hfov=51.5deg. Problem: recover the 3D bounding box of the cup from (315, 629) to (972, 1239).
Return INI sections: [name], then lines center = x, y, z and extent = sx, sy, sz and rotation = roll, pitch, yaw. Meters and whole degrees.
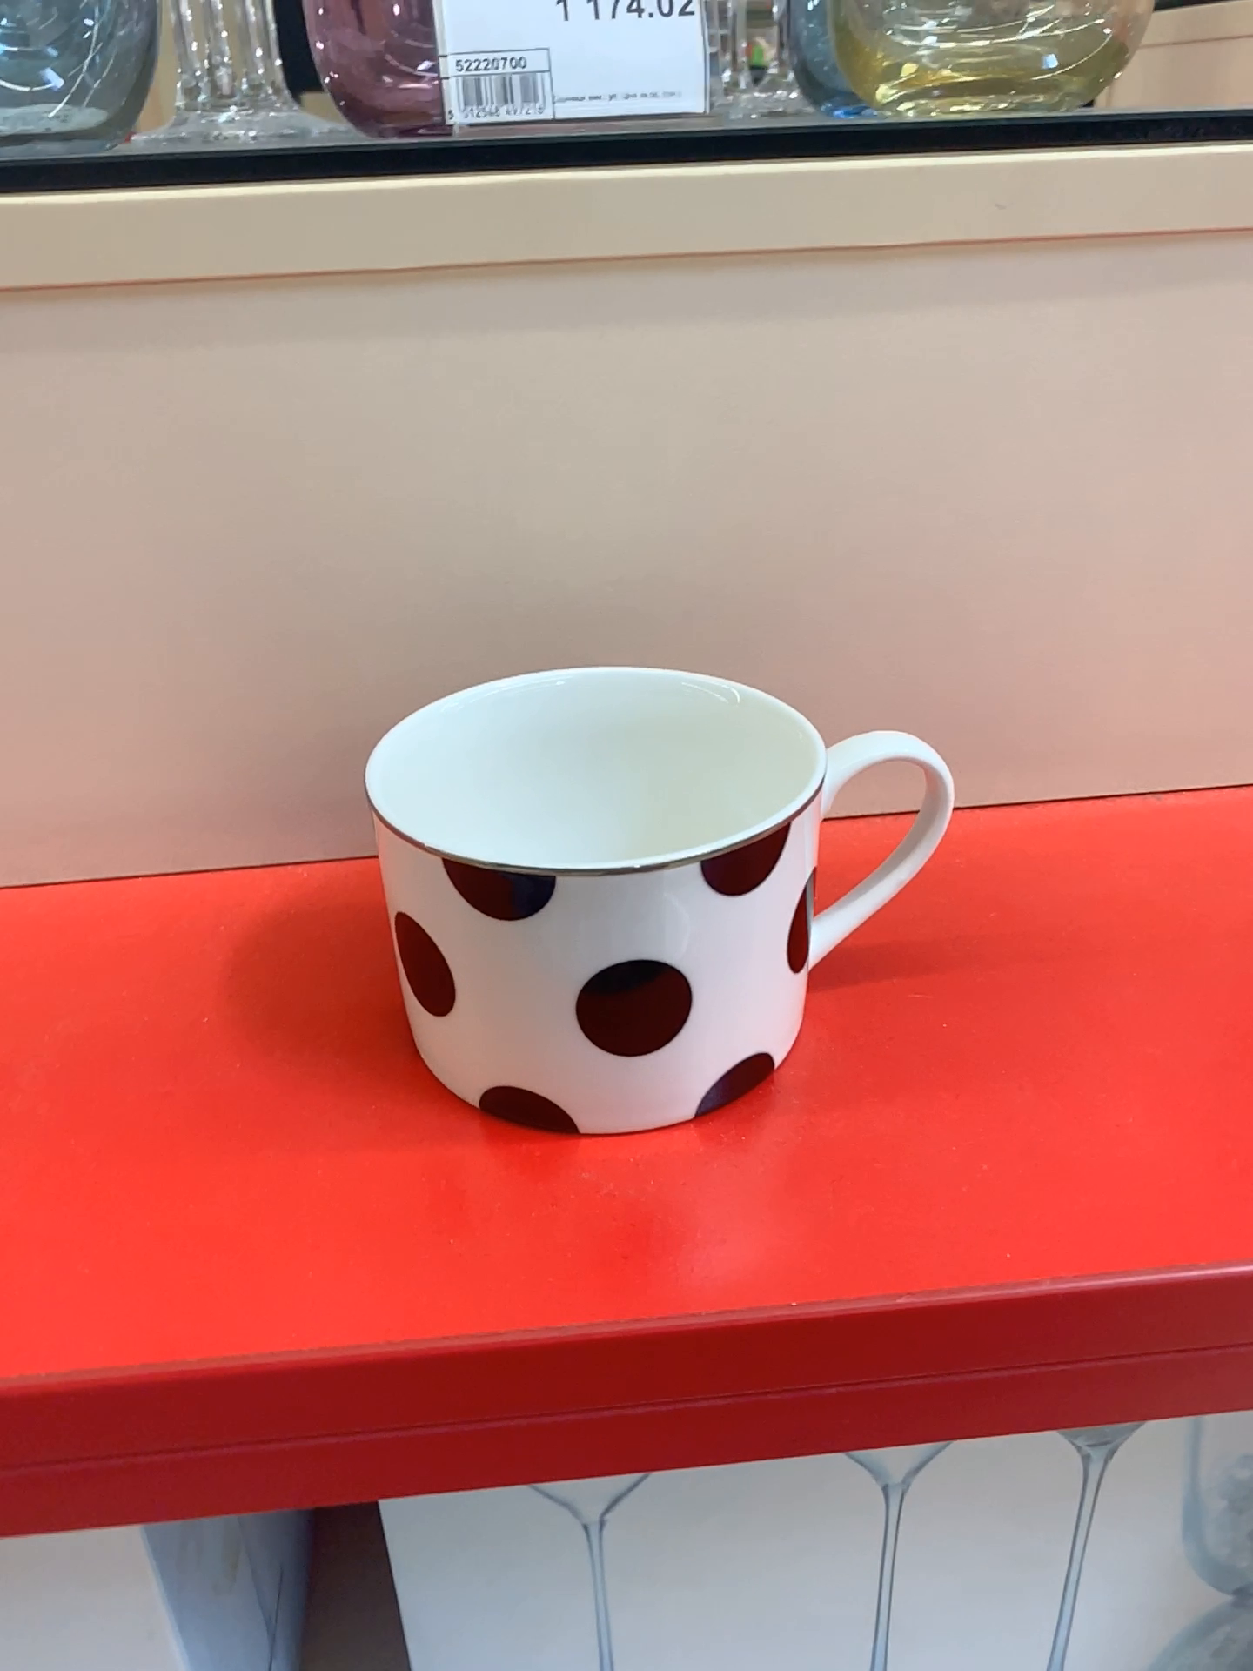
[cup]
center = -0.002, 0.013, 0.245
extent = 0.100, 0.070, 0.080
rotation = -7, 29, -9
